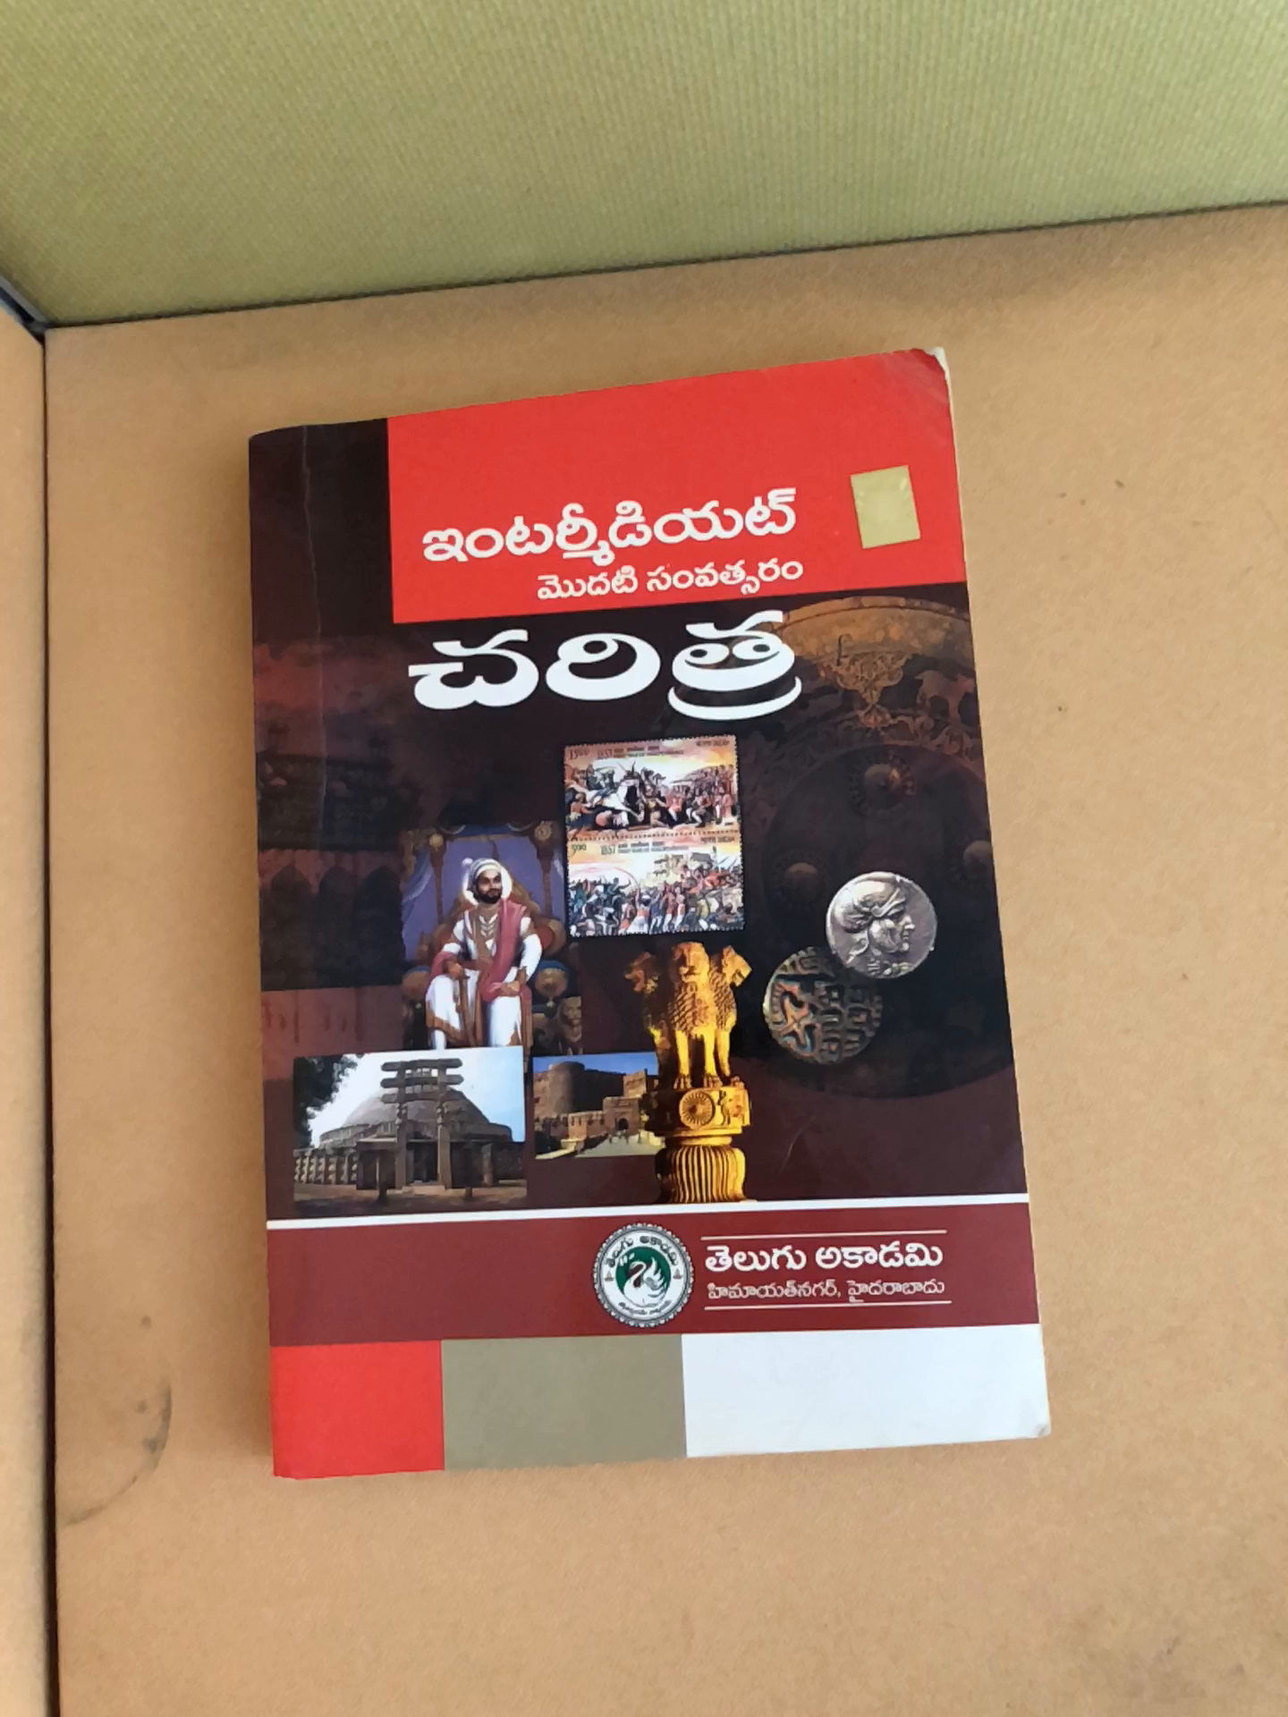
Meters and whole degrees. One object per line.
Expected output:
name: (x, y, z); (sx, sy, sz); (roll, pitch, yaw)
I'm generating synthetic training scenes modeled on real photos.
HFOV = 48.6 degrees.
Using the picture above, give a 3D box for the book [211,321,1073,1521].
book: (-0.008, 0.013, 0.375); (0.200, 0.030, 0.290); (-5, 82, 5)
